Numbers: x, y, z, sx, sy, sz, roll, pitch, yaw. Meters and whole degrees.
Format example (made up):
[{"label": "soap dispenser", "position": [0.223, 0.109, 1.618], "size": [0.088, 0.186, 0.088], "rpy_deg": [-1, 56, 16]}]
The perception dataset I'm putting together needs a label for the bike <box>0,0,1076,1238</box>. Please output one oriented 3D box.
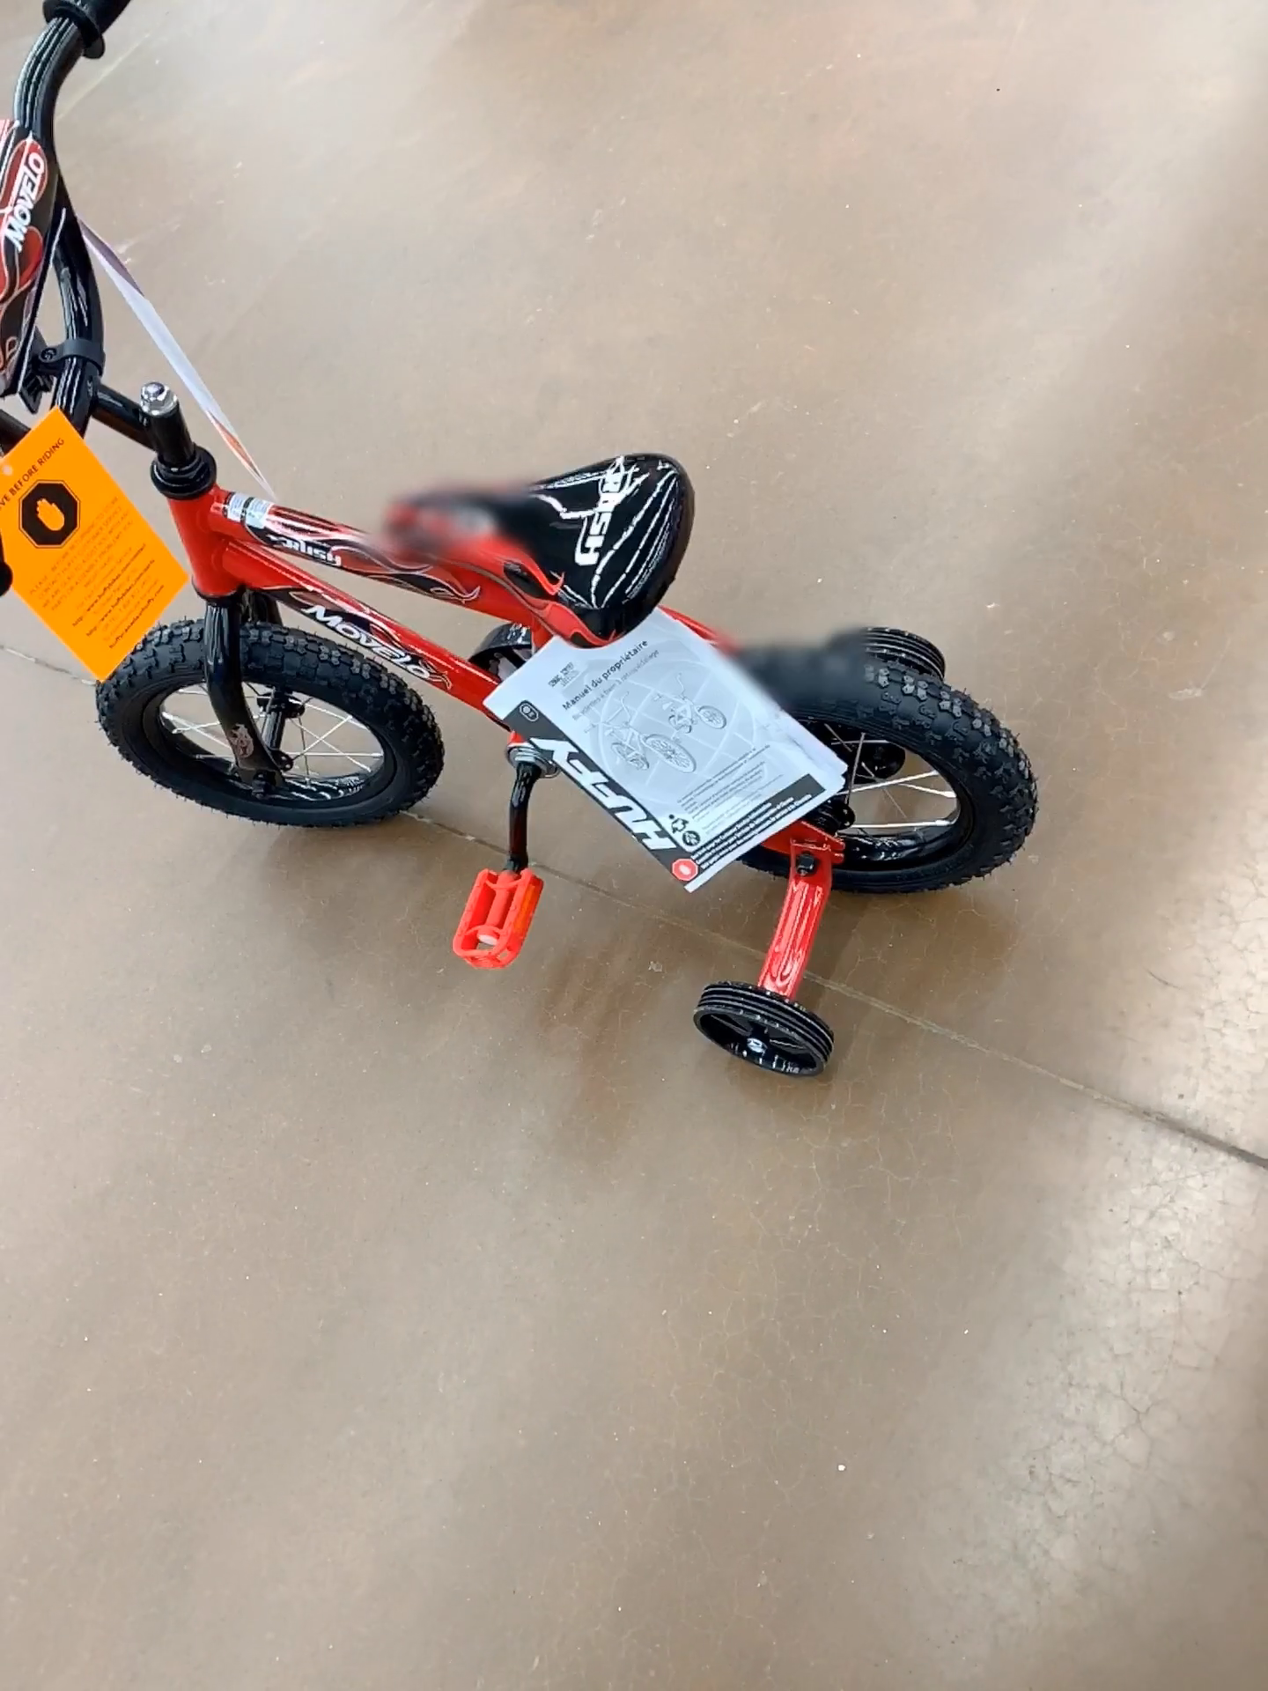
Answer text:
[{"label": "bike", "position": [-0.140, -0.138, 0.760], "size": [0.704, 0.627, 0.458], "rpy_deg": [5, 60, 16]}]
